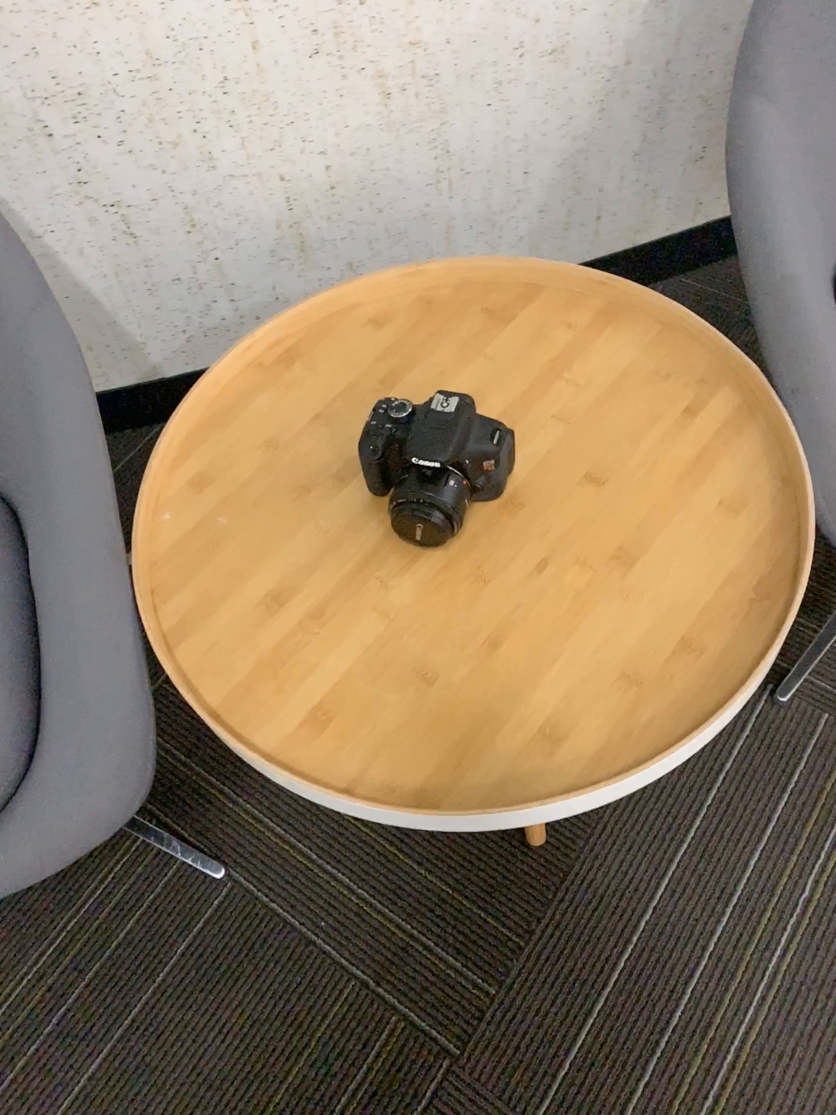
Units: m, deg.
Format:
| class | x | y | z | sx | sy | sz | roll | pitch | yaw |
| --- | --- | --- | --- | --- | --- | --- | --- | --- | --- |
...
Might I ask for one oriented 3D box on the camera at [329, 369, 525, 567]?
| class | x | y | z | sx | sy | sz | roll | pitch | yaw |
| --- | --- | --- | --- | --- | --- | --- | --- | --- | --- |
| camera | 0.013 | -0.079 | 0.750 | 0.134 | 0.090 | 0.119 | 13 | 62 | 14 |
